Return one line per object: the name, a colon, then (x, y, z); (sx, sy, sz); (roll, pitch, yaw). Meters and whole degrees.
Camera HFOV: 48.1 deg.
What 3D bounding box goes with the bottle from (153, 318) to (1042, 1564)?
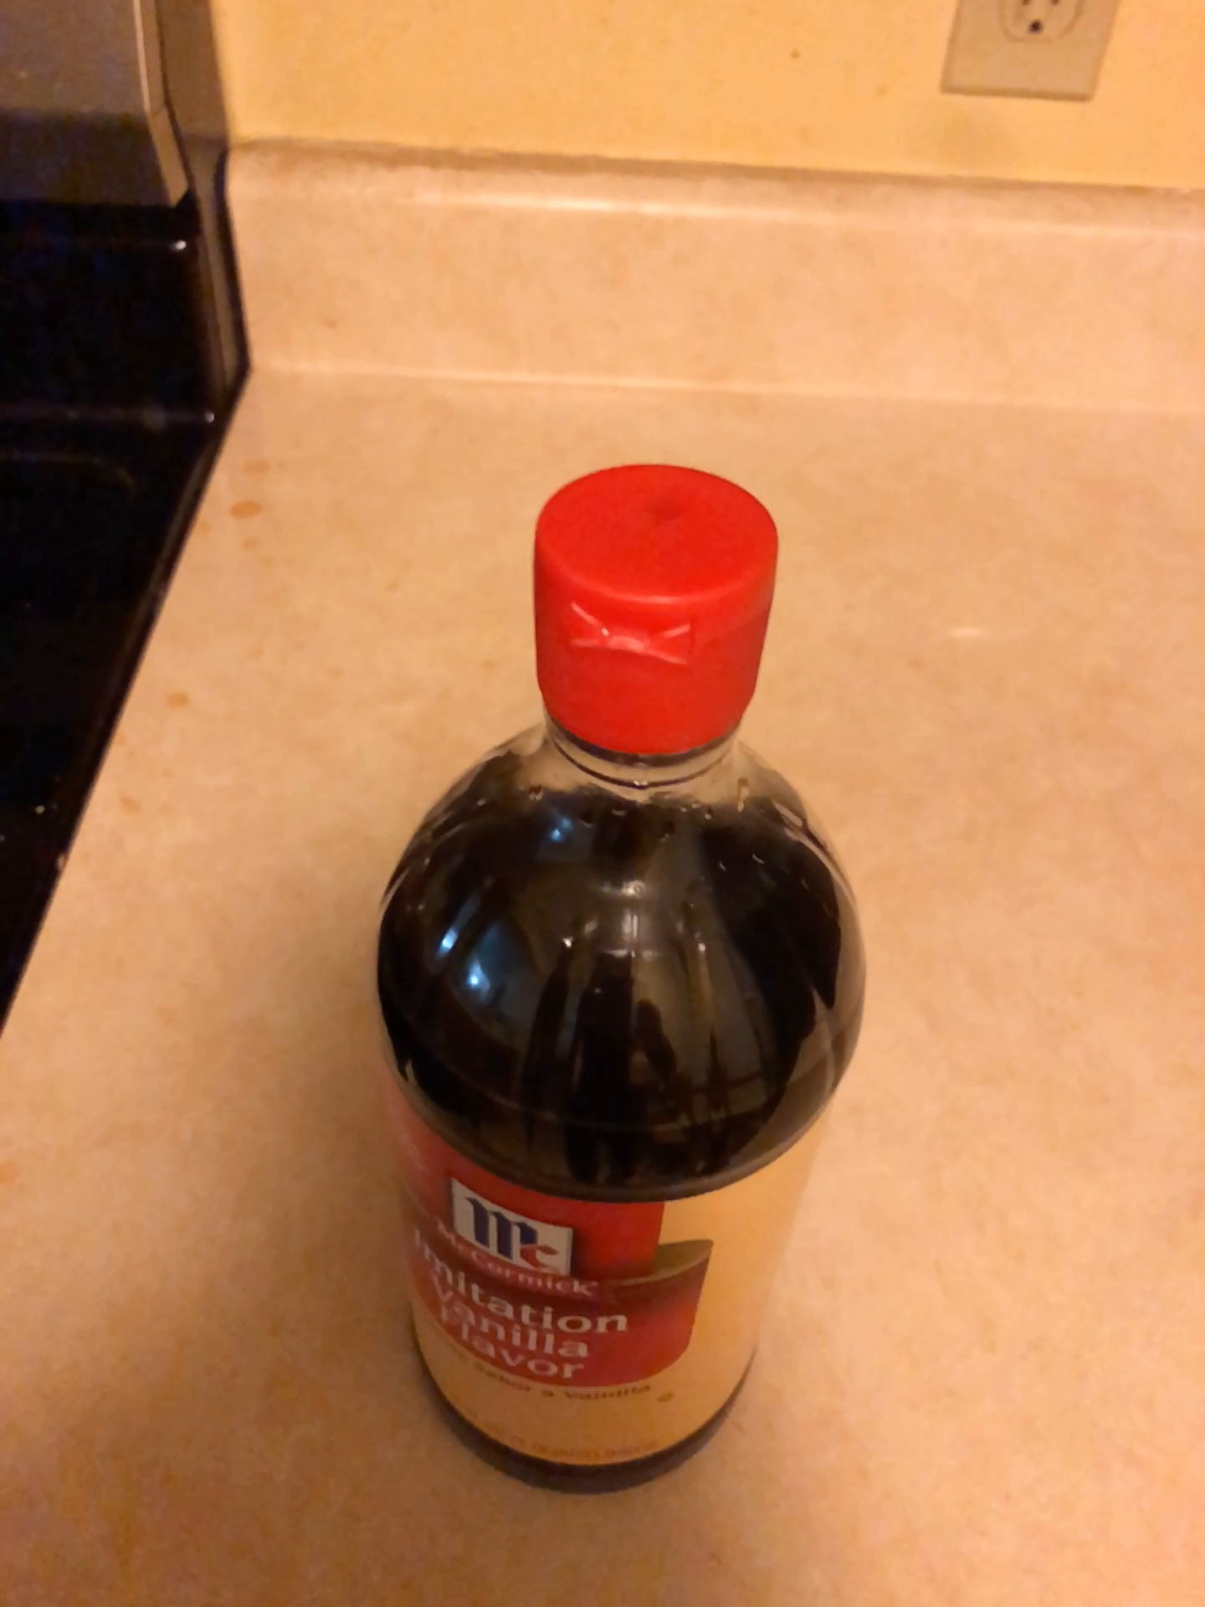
bottle: (-0.001, 0.048, 0.256); (0.090, 0.240, 0.080); (18, 47, 13)
